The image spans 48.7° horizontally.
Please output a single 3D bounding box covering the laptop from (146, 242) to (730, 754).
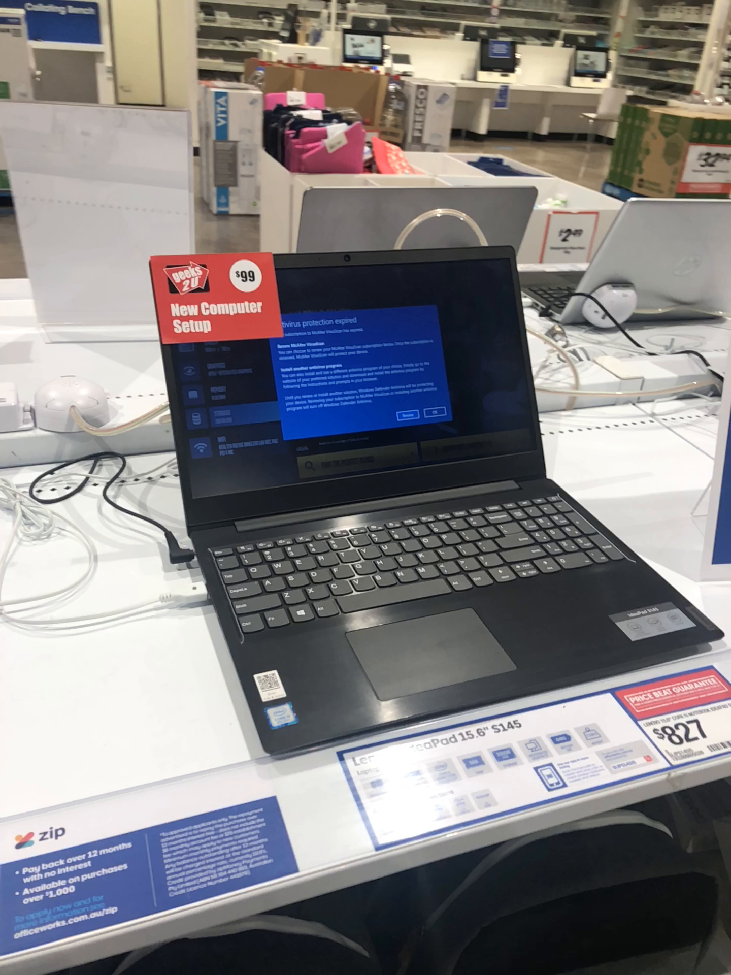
[{"bbox_3d":[0.041,-0.041,0.640,0.353,0.192,0.370,-8,33,-20],"label":"laptop"}]
